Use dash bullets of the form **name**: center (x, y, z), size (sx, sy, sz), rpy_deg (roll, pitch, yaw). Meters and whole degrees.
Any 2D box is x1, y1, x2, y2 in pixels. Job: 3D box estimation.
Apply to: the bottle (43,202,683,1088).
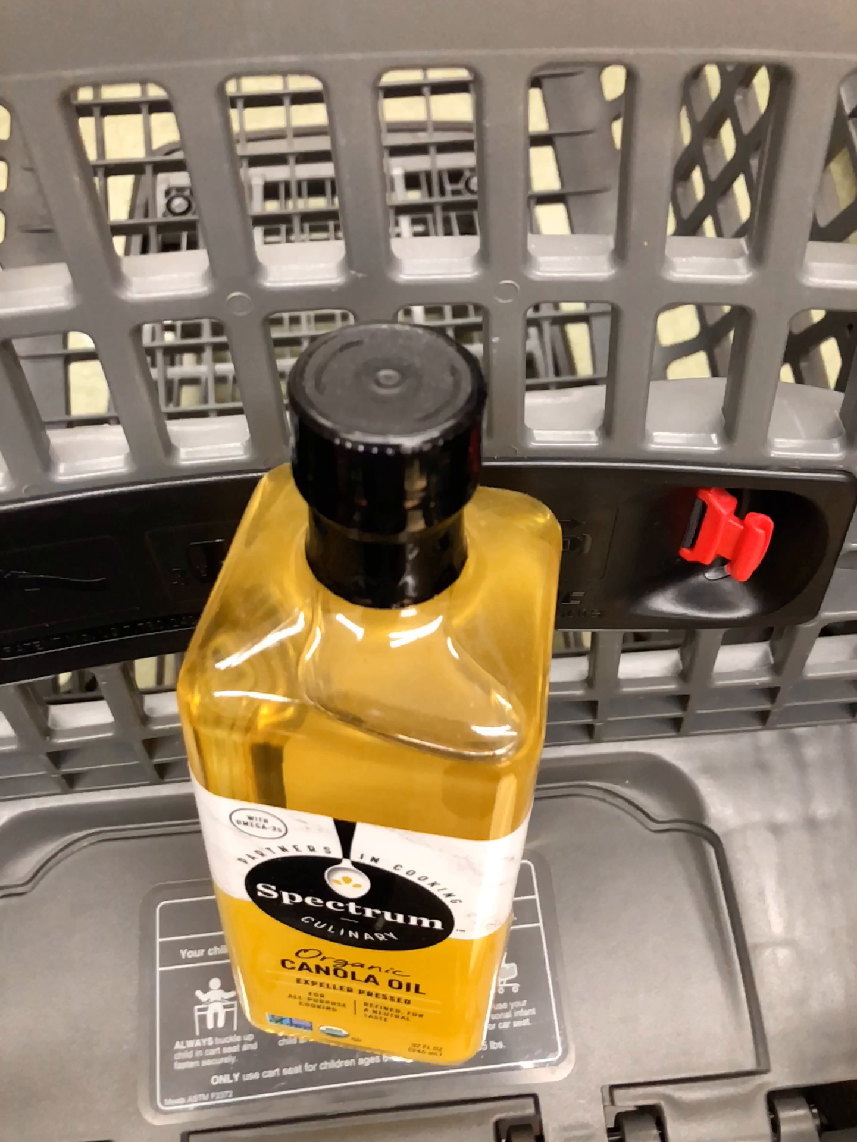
- **bottle**: center (-0.007, 0.047, 0.257), size (0.090, 0.251, 0.090), rpy_deg (1, 48, -2)
